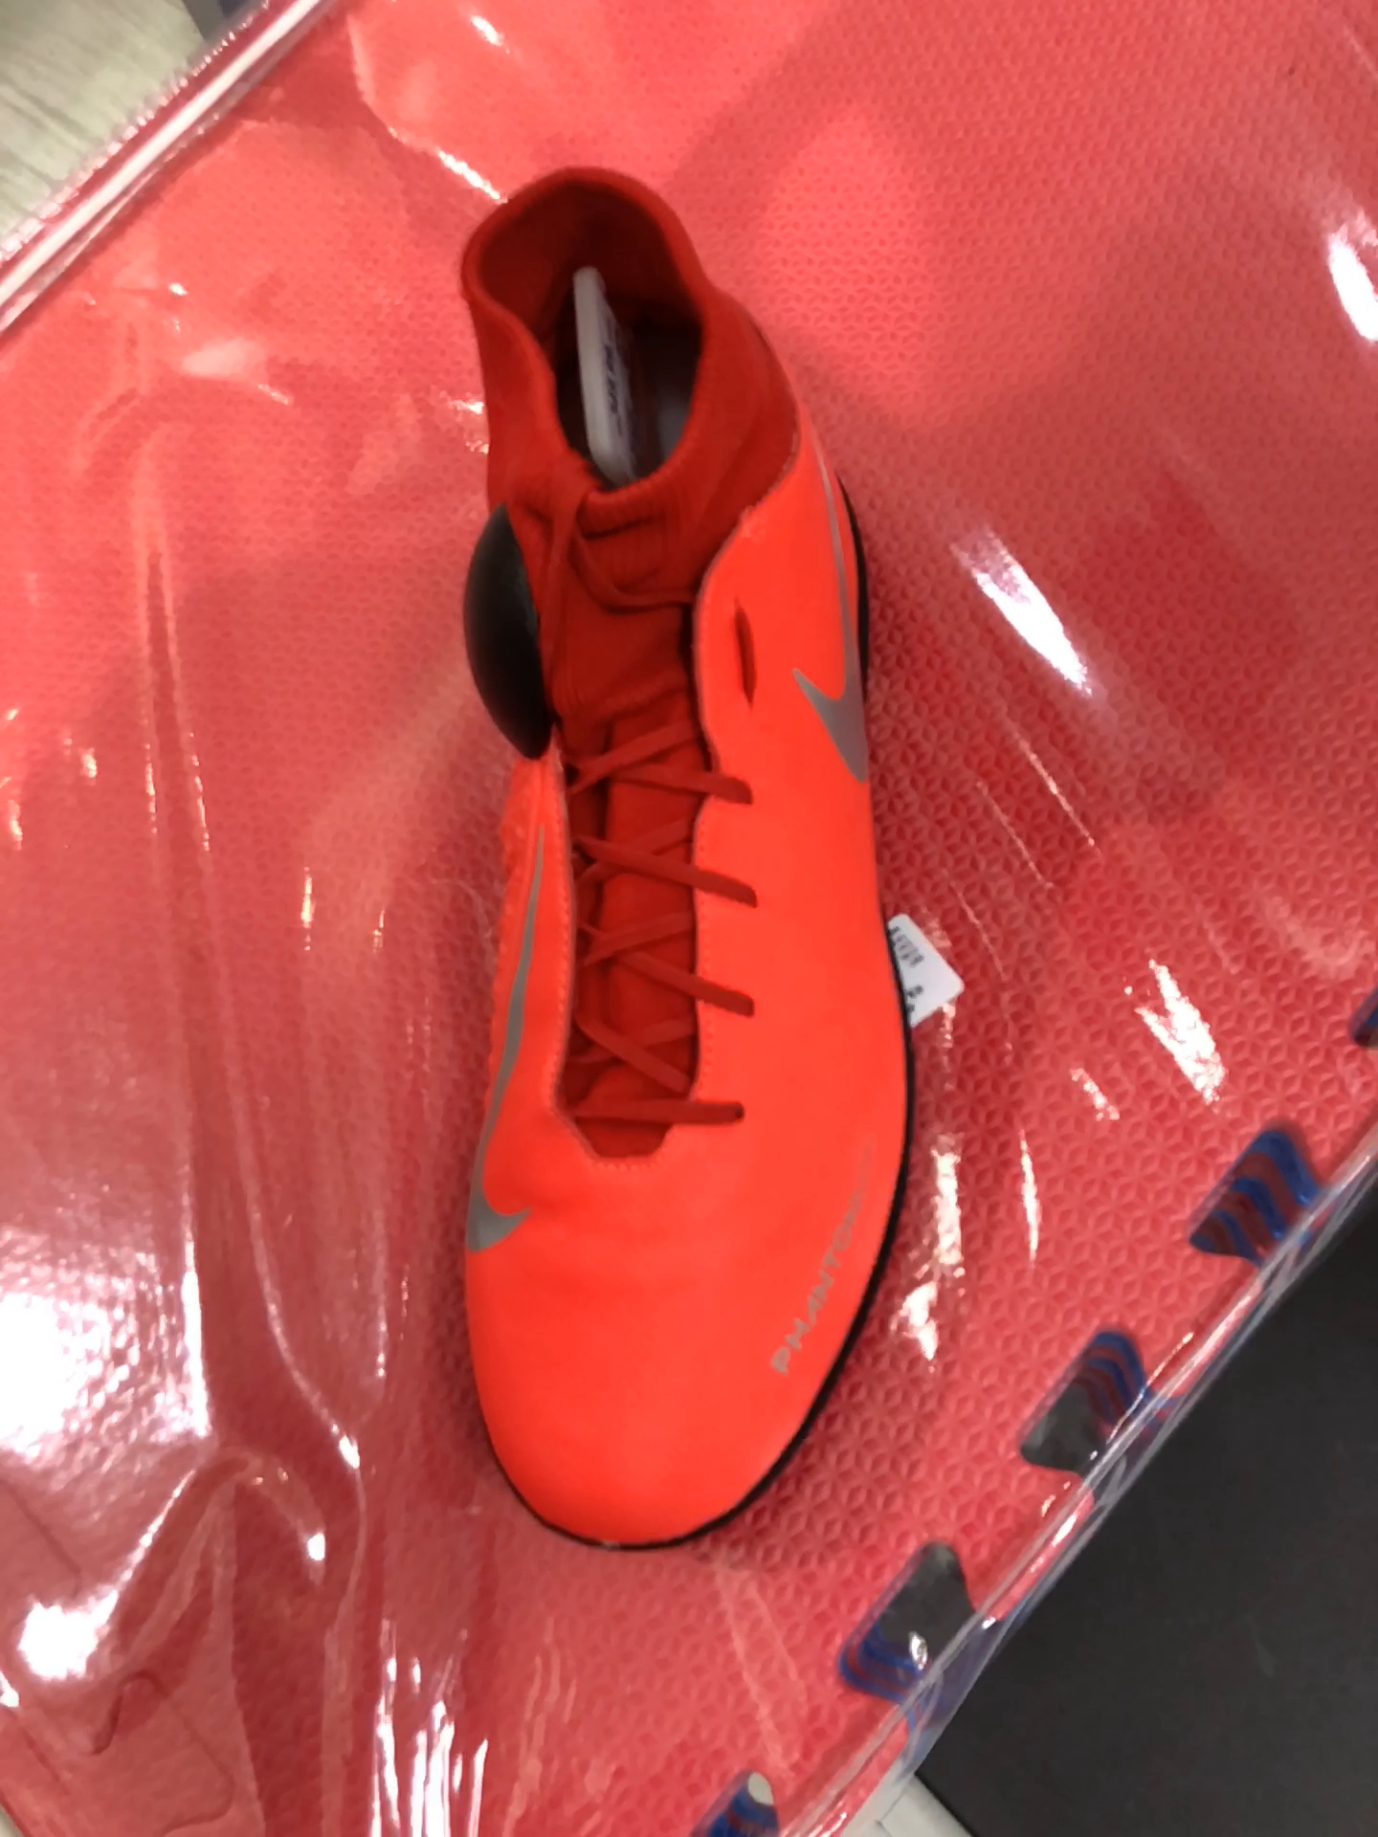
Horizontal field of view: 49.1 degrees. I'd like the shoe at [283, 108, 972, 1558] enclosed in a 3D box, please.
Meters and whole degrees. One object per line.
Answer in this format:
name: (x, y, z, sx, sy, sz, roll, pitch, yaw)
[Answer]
shoe: (0.006, -0.012, 0.298, 0.090, 0.120, 0.251, -2, 67, 11)
